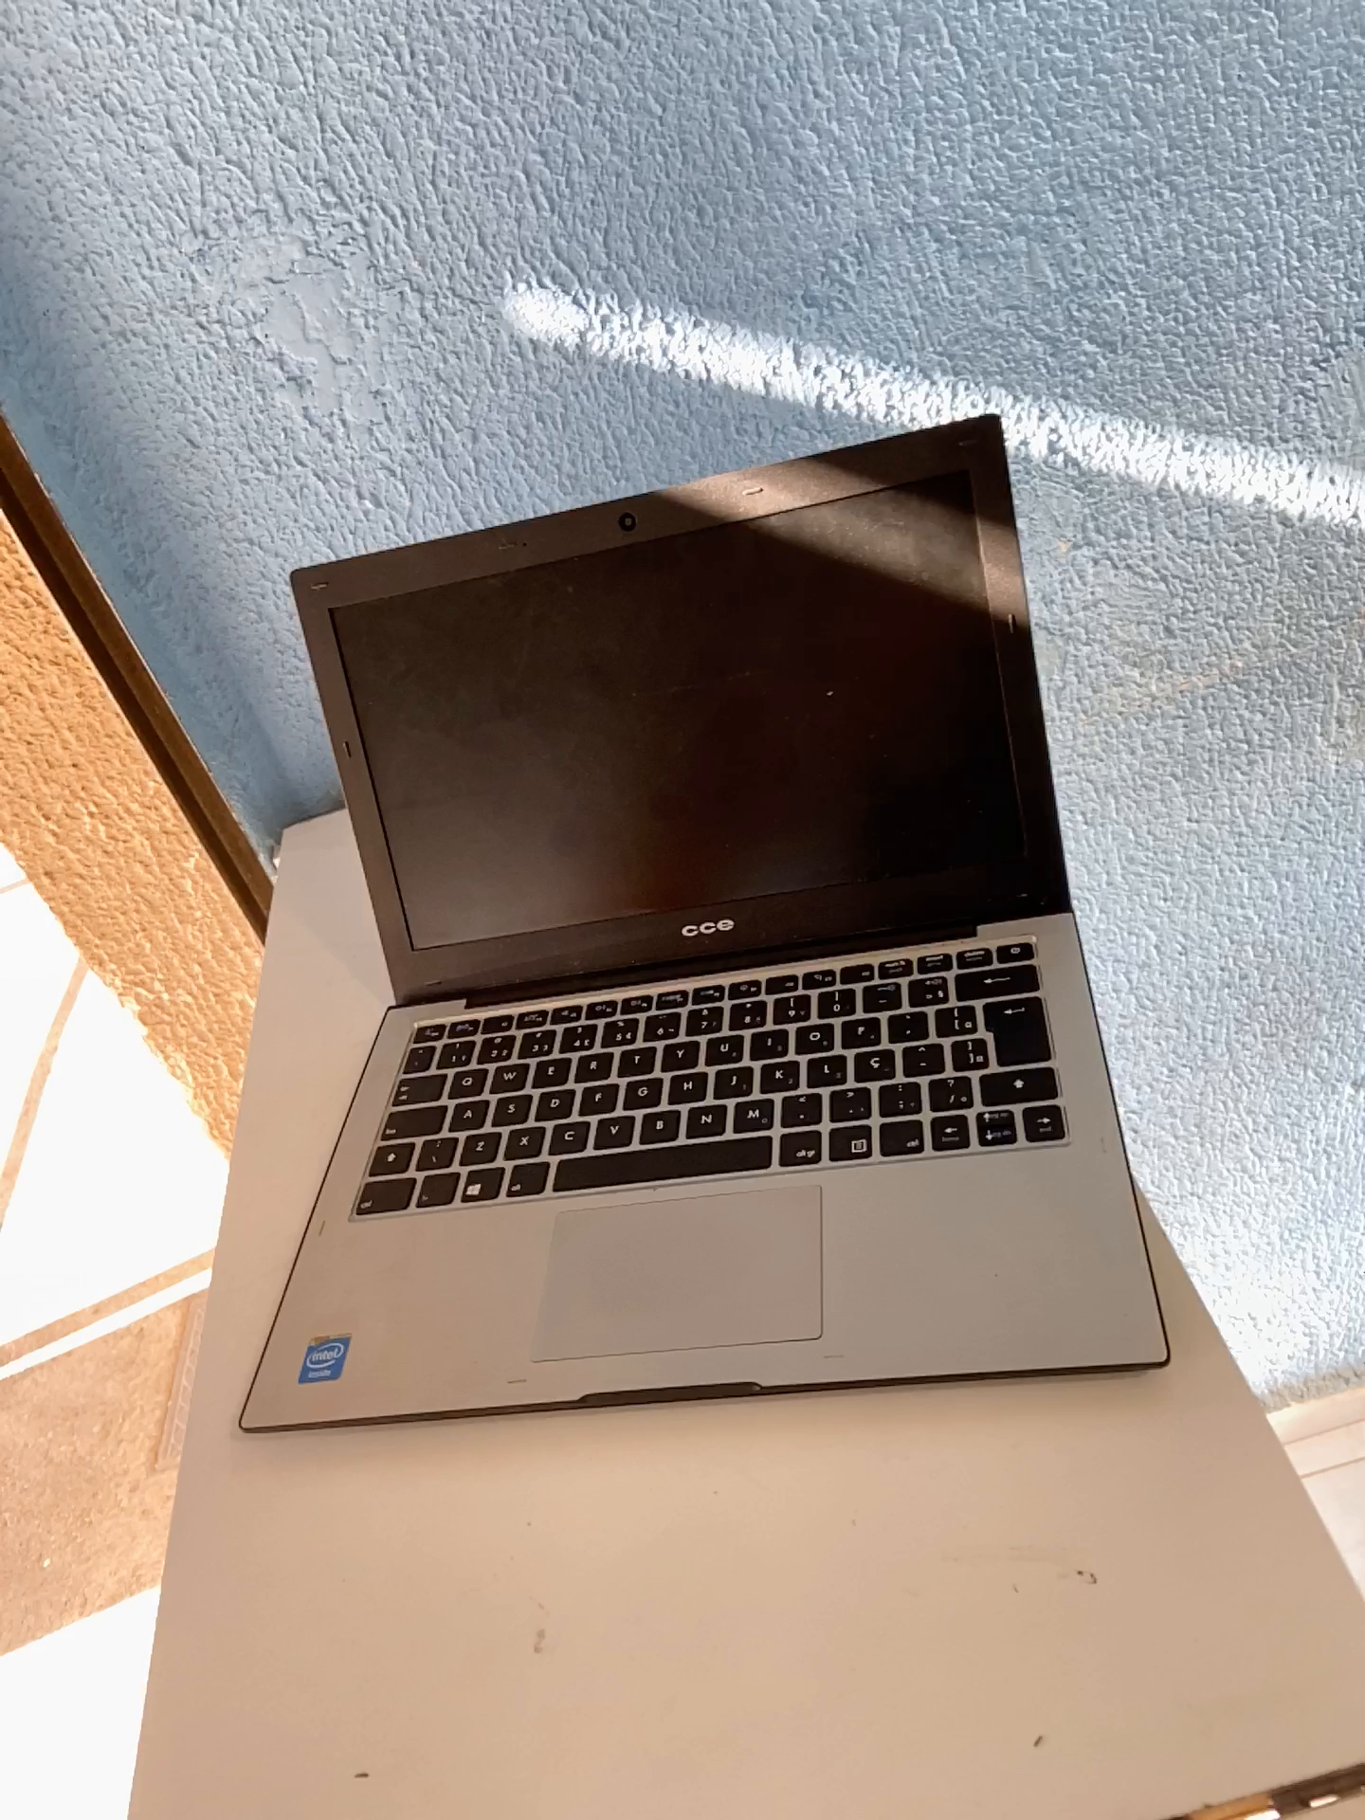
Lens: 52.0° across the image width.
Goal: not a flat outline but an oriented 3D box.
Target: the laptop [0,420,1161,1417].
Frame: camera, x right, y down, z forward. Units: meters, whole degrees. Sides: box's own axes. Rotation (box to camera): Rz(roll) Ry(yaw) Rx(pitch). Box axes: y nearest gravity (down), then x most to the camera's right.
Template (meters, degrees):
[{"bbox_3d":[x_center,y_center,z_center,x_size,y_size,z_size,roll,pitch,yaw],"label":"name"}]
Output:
[{"bbox_3d":[-0.016,-0.007,0.525,0.313,0.181,0.305,-8,38,13],"label":"laptop"}]
